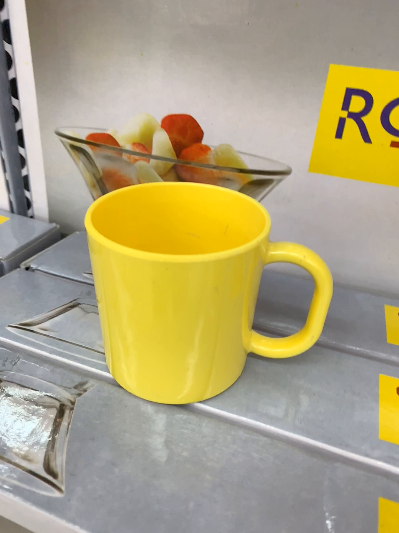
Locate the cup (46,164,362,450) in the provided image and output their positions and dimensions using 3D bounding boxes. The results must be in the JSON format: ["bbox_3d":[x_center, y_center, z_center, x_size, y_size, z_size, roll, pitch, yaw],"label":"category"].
[{"bbox_3d":[0.003,0.012,0.180,0.100,0.079,0.071,9,31,7],"label":"cup"}]
